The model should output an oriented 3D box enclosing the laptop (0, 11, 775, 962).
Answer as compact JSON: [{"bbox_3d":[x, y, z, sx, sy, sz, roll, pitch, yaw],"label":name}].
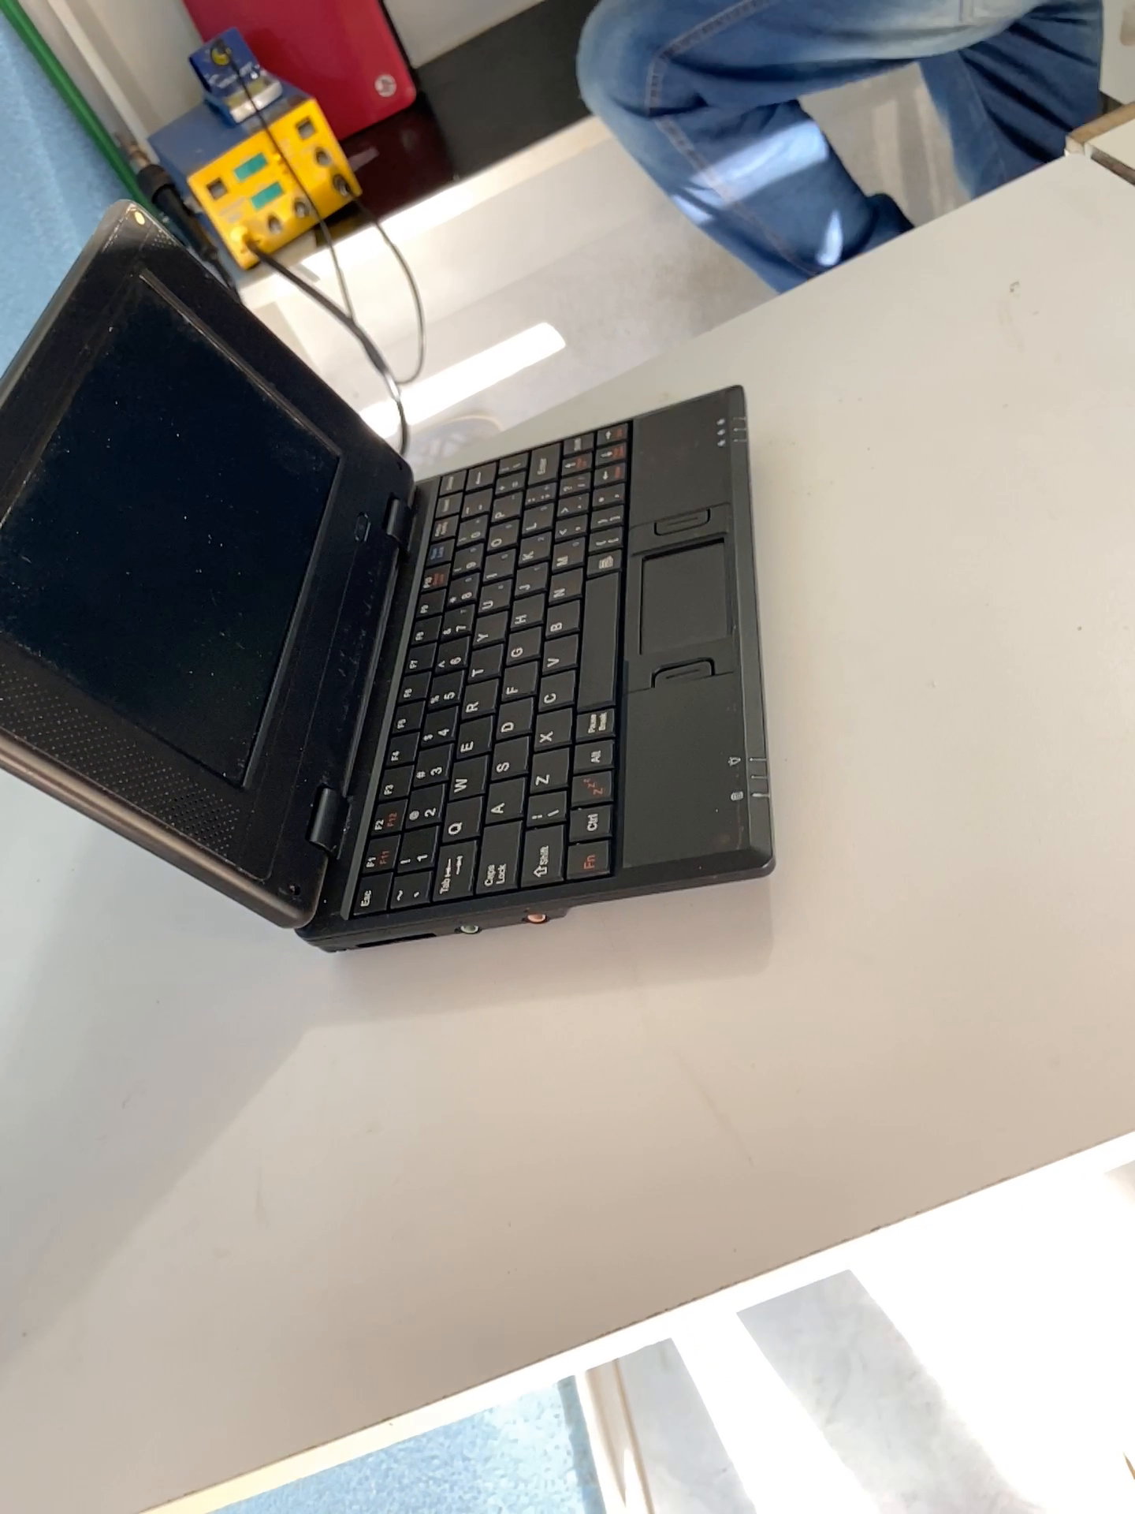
[{"bbox_3d":[-0.047,-0.079,0.352,0.179,0.137,0.217,-11,48,18],"label":"laptop"}]
